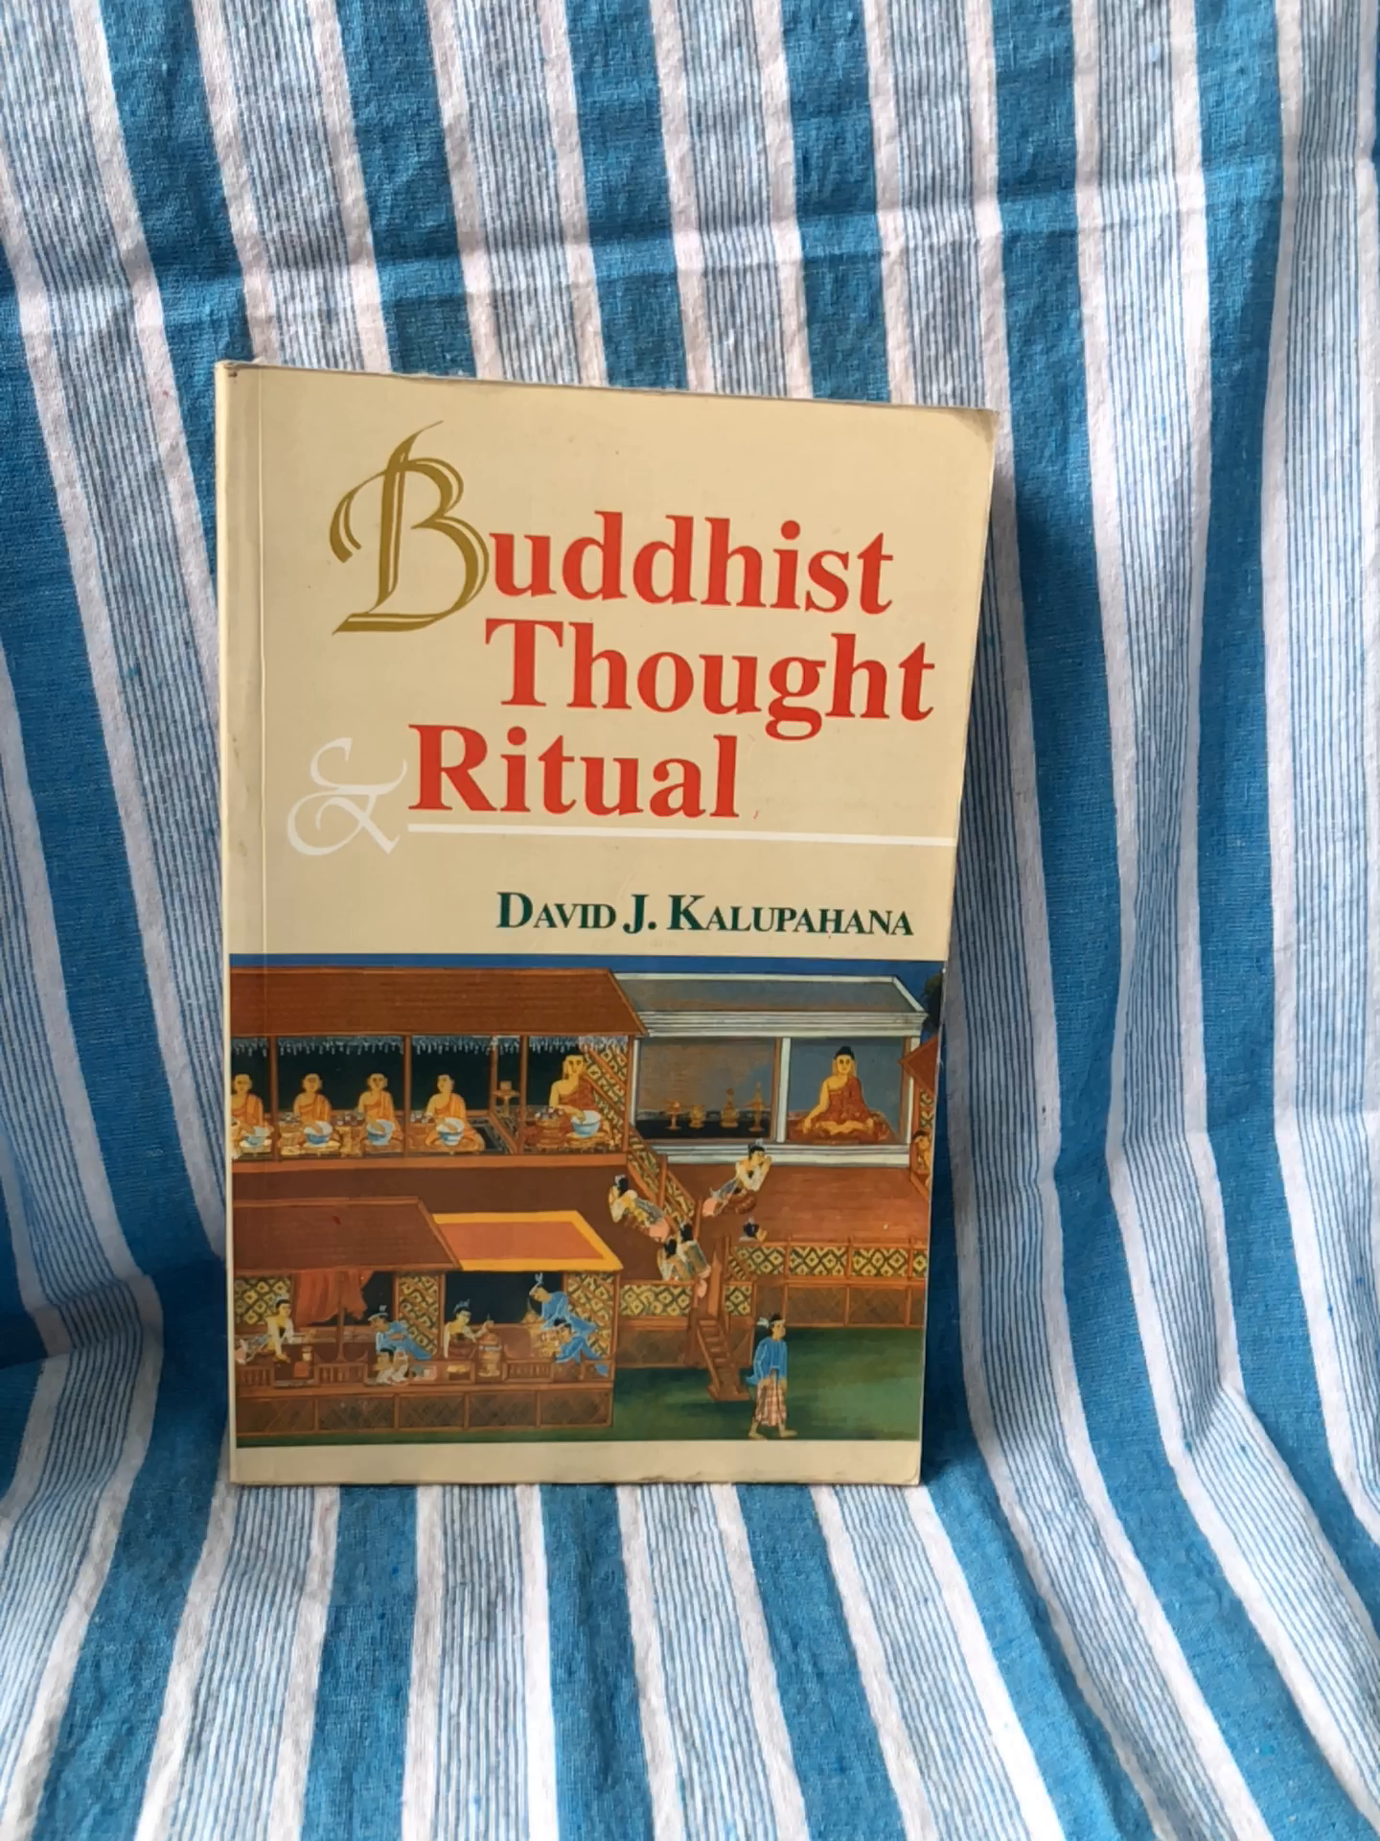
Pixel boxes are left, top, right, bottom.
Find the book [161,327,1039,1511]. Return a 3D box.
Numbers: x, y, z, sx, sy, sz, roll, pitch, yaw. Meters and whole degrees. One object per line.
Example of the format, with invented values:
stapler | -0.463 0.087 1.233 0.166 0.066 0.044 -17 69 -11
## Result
book | -0.019 0.008 0.296 0.150 0.219 0.020 1 13 -7
